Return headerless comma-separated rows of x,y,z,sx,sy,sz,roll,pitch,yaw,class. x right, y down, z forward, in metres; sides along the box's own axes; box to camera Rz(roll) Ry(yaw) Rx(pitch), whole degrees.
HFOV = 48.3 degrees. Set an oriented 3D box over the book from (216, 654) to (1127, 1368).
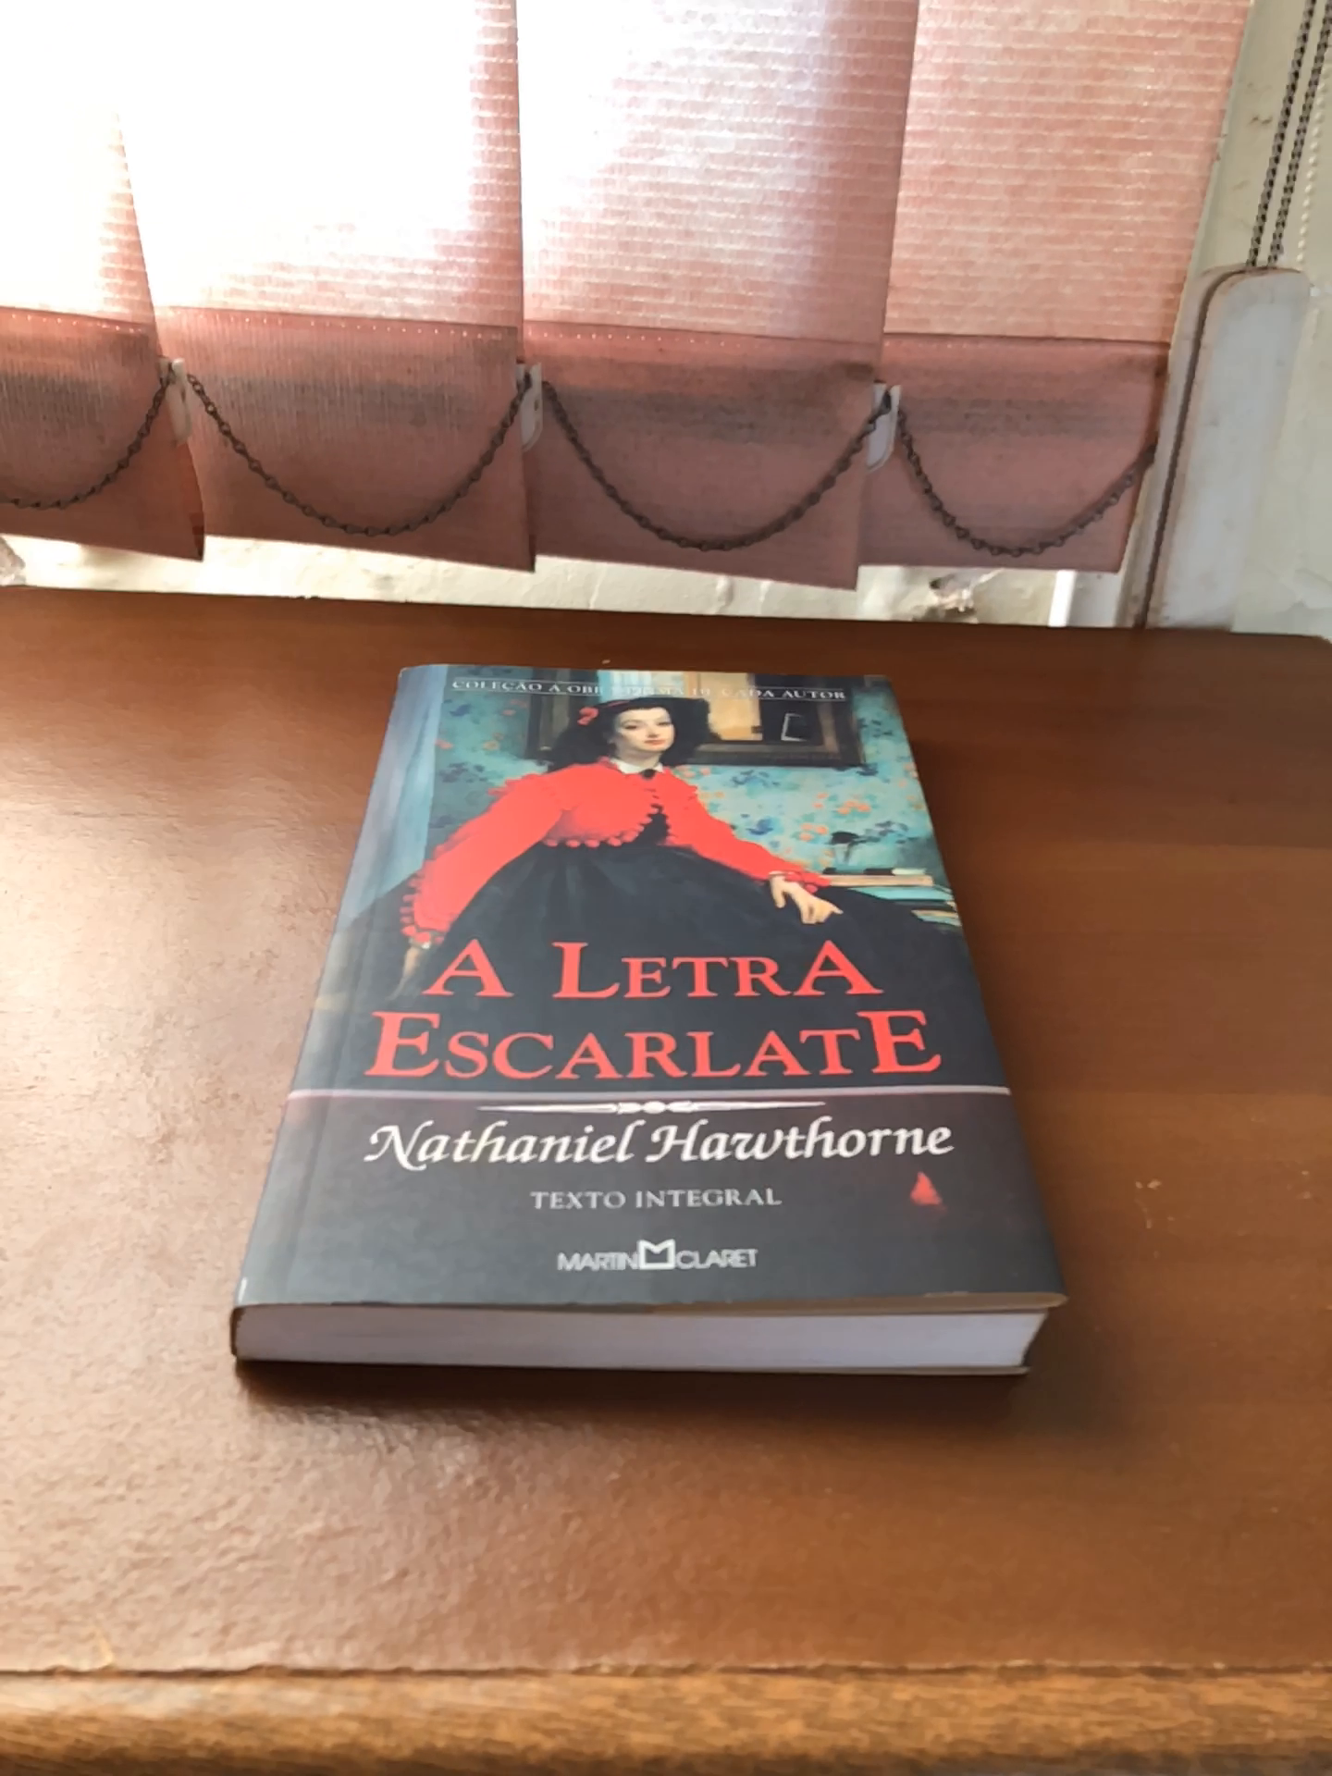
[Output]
0.000,0.006,0.253,0.111,0.015,0.167,1,36,-1,book
